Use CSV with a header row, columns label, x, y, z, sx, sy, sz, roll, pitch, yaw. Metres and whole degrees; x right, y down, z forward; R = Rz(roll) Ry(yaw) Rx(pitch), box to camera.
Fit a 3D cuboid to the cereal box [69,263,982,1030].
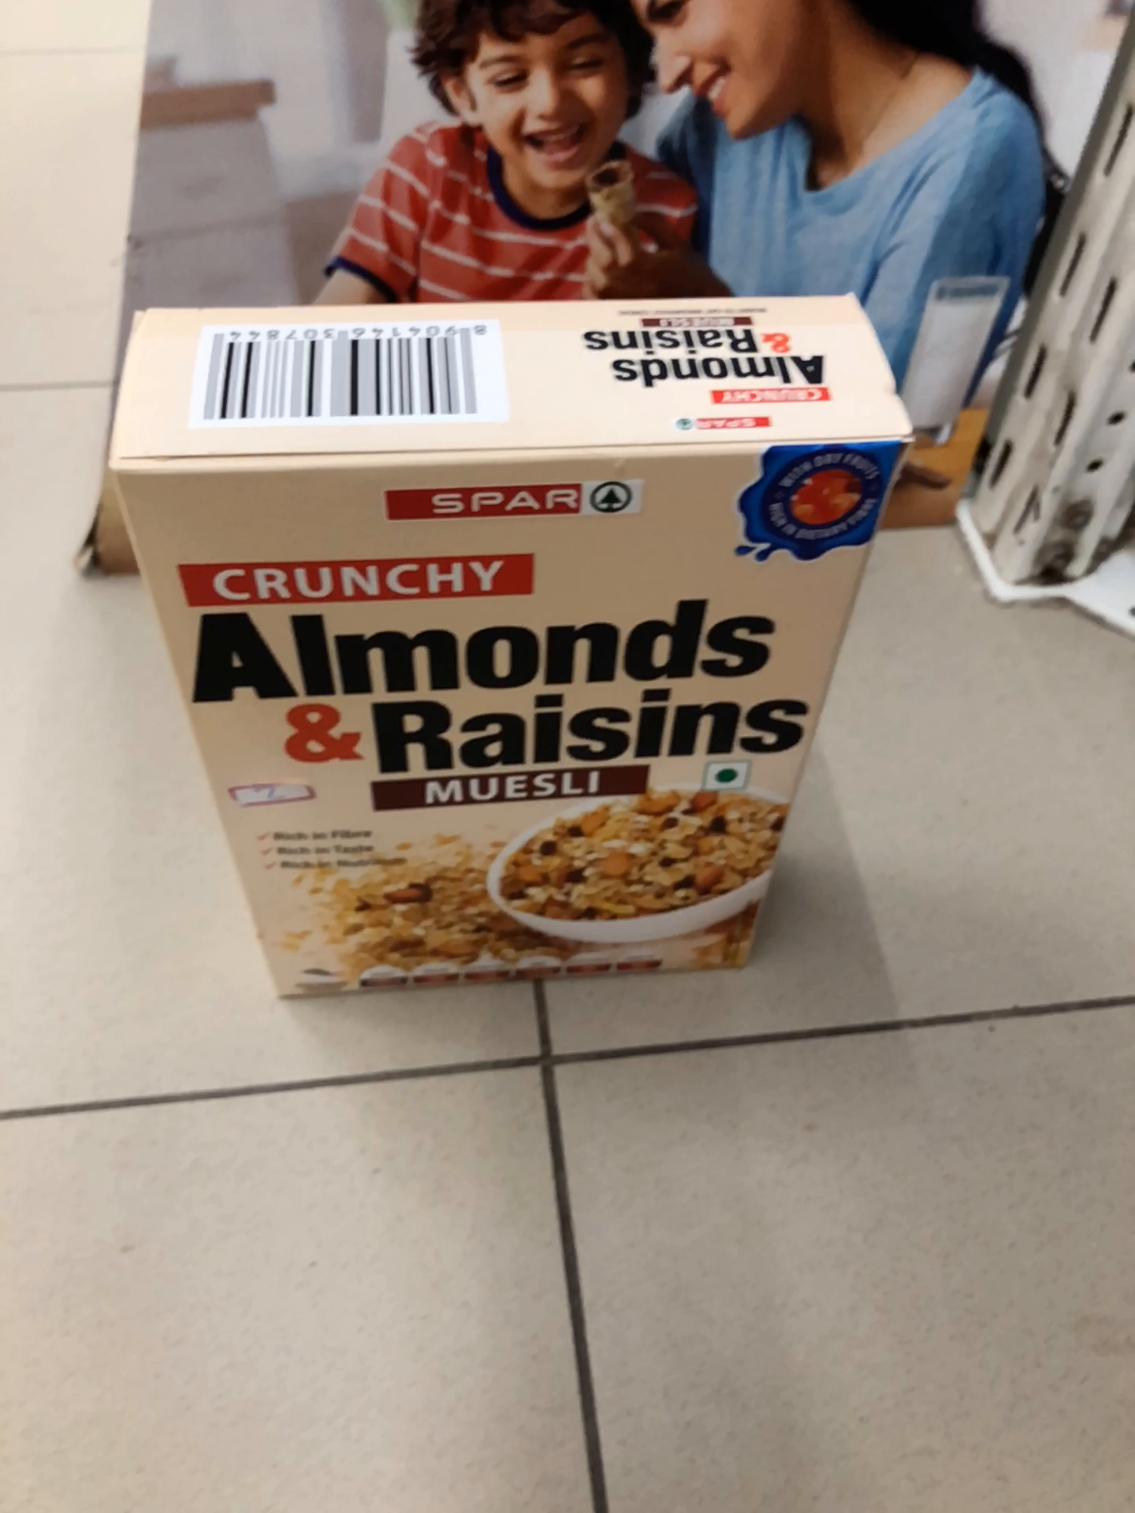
label,x,y,z,sx,sy,sz,roll,pitch,yaw
cereal box,-0.012,-0.011,0.361,0.180,0.239,0.060,-4,51,-5
